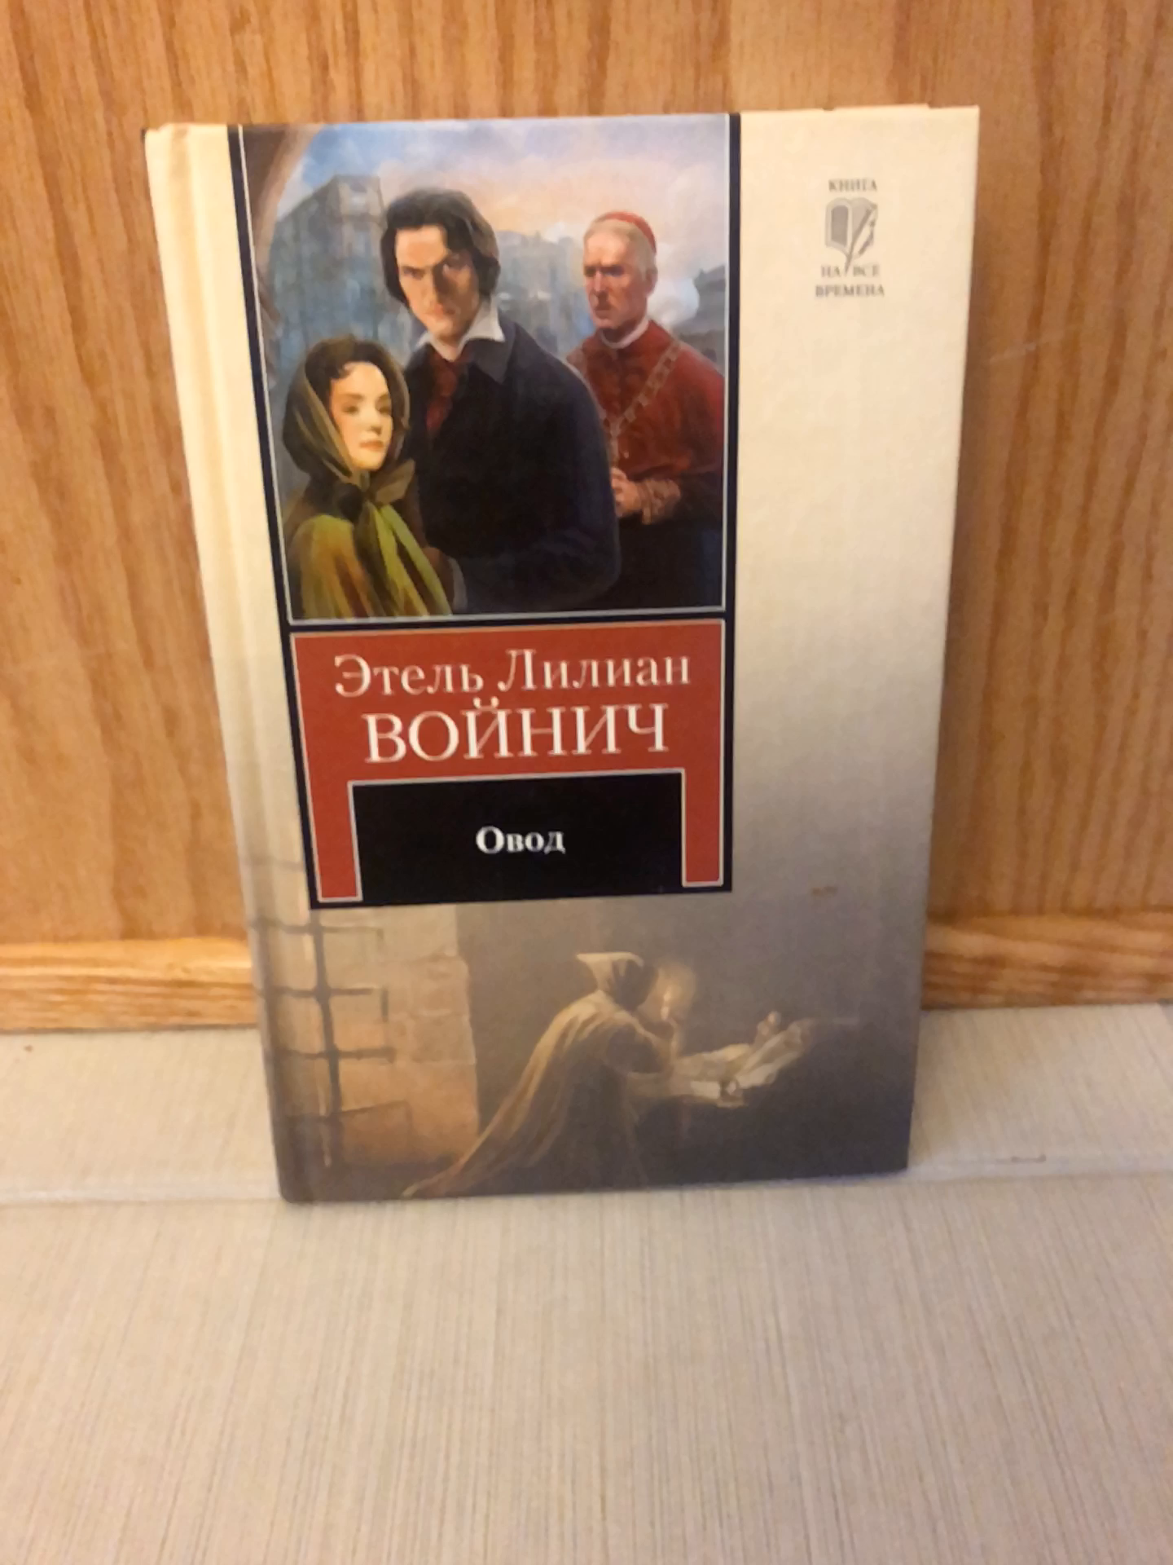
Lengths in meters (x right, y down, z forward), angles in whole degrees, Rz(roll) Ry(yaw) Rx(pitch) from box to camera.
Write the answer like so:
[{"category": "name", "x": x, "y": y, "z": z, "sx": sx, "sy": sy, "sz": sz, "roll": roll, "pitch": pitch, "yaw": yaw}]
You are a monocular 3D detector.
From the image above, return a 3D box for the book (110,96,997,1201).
[{"category": "book", "x": -0.002, "y": -0.016, "z": 0.255, "sx": 0.139, "sy": 0.203, "sz": 0.030, "roll": -2, "pitch": 20, "yaw": -1}]
